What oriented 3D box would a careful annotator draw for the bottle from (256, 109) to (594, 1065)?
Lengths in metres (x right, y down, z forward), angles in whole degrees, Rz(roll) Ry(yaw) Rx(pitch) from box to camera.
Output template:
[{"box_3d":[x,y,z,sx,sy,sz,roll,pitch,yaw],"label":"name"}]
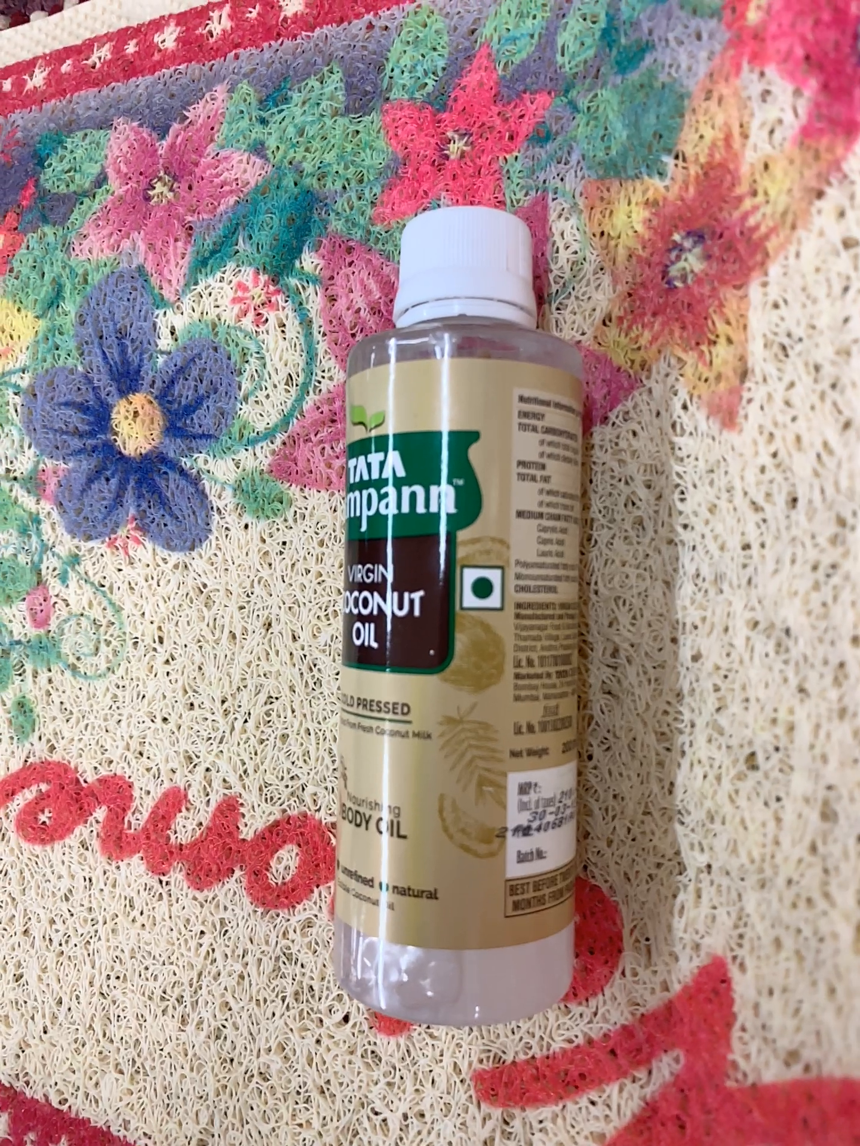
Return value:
[{"box_3d":[-0.002,0.002,0.158,0.050,0.030,0.140,1,90,42],"label":"bottle"}]
